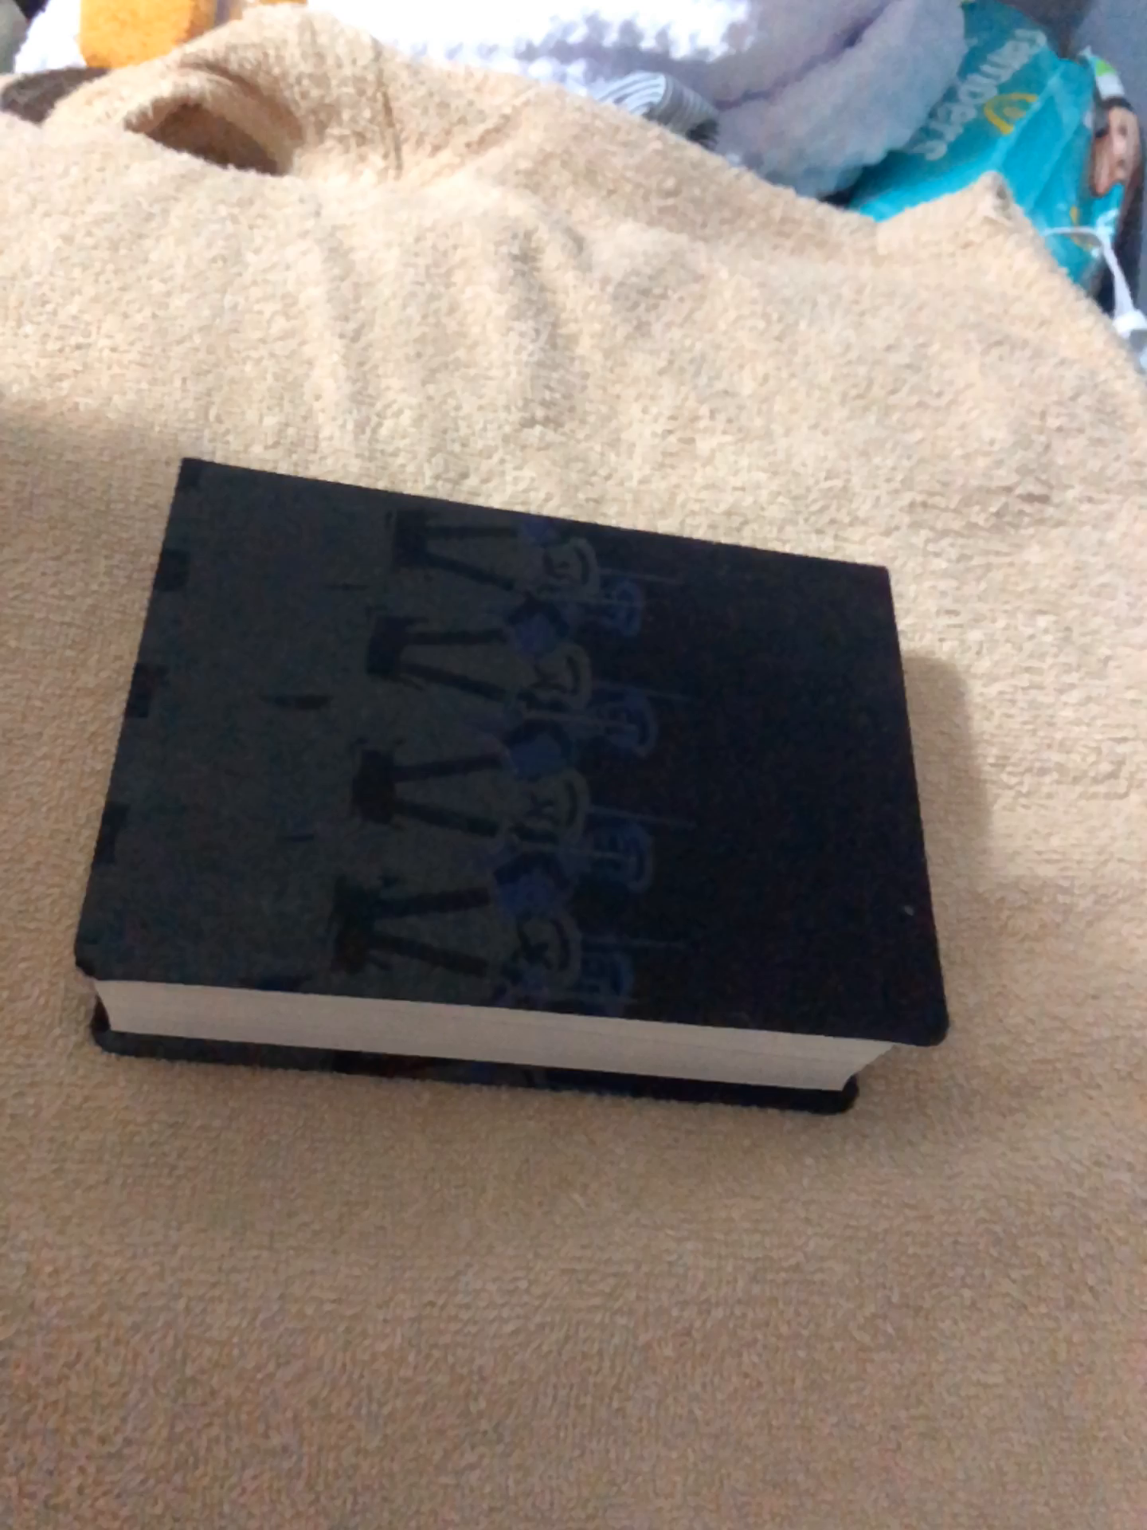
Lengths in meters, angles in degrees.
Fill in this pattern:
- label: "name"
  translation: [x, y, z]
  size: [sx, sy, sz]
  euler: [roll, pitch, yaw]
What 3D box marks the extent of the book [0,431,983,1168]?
- label: "book"
  translation: [-0.016, 0.009, 0.292]
  size: [0.190, 0.050, 0.140]
  euler: [7, 59, -11]
